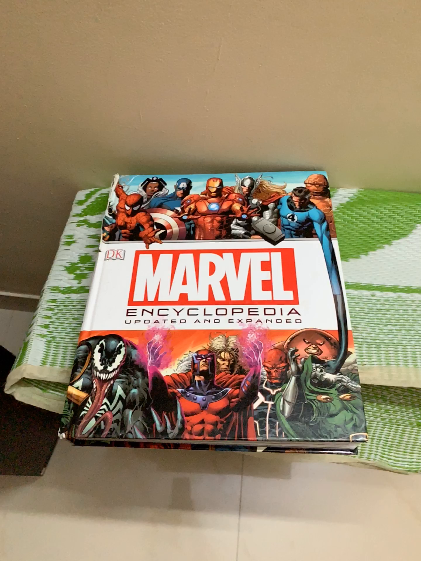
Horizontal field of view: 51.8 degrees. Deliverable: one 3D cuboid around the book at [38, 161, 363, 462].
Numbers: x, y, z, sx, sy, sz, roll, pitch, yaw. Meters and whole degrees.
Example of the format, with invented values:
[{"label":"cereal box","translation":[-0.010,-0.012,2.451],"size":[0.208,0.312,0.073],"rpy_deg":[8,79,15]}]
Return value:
[{"label":"book","translation":[-0.004,0.008,0.447],"size":[0.260,0.040,0.322],"rpy_deg":[0,59,4]}]
